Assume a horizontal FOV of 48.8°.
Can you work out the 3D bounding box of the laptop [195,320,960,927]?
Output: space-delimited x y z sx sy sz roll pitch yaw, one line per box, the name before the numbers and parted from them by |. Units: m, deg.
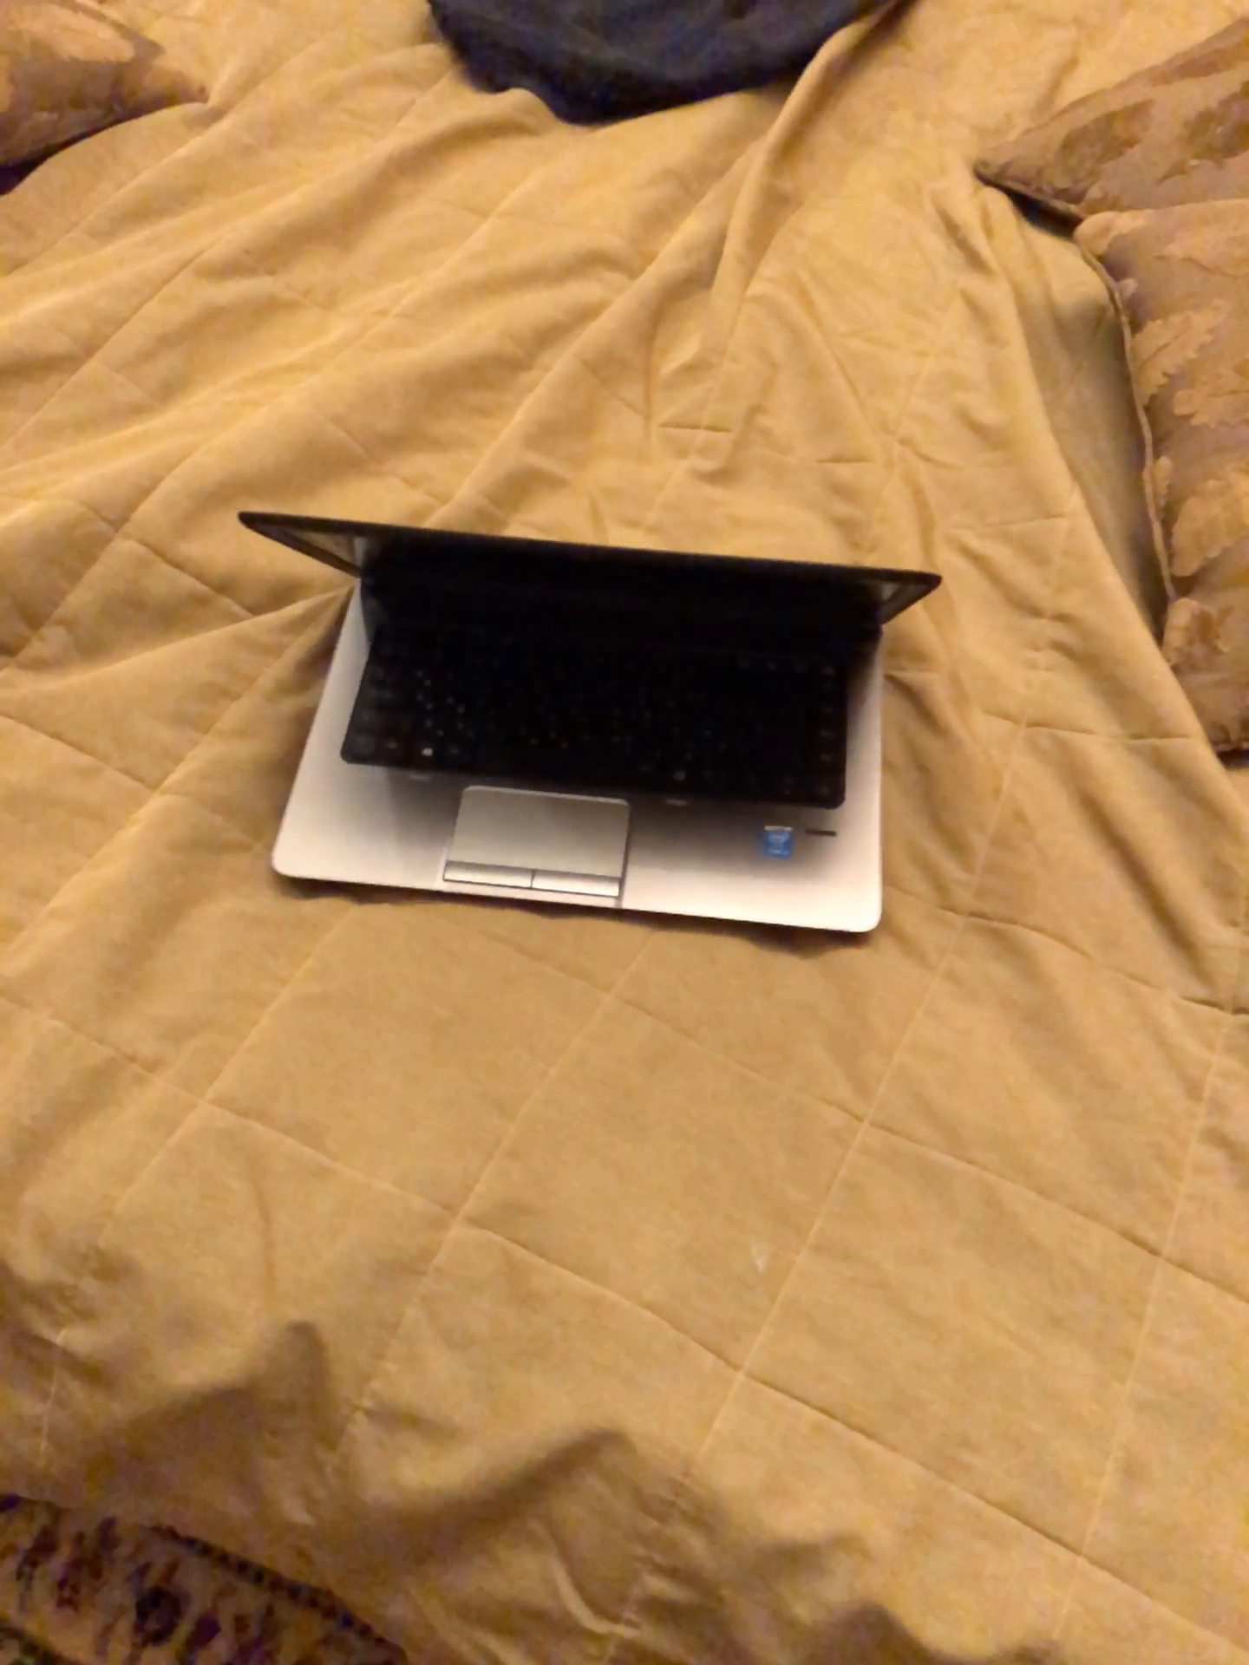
laptop | -0.013 -0.109 0.735 0.331 0.189 0.226 6 56 1
